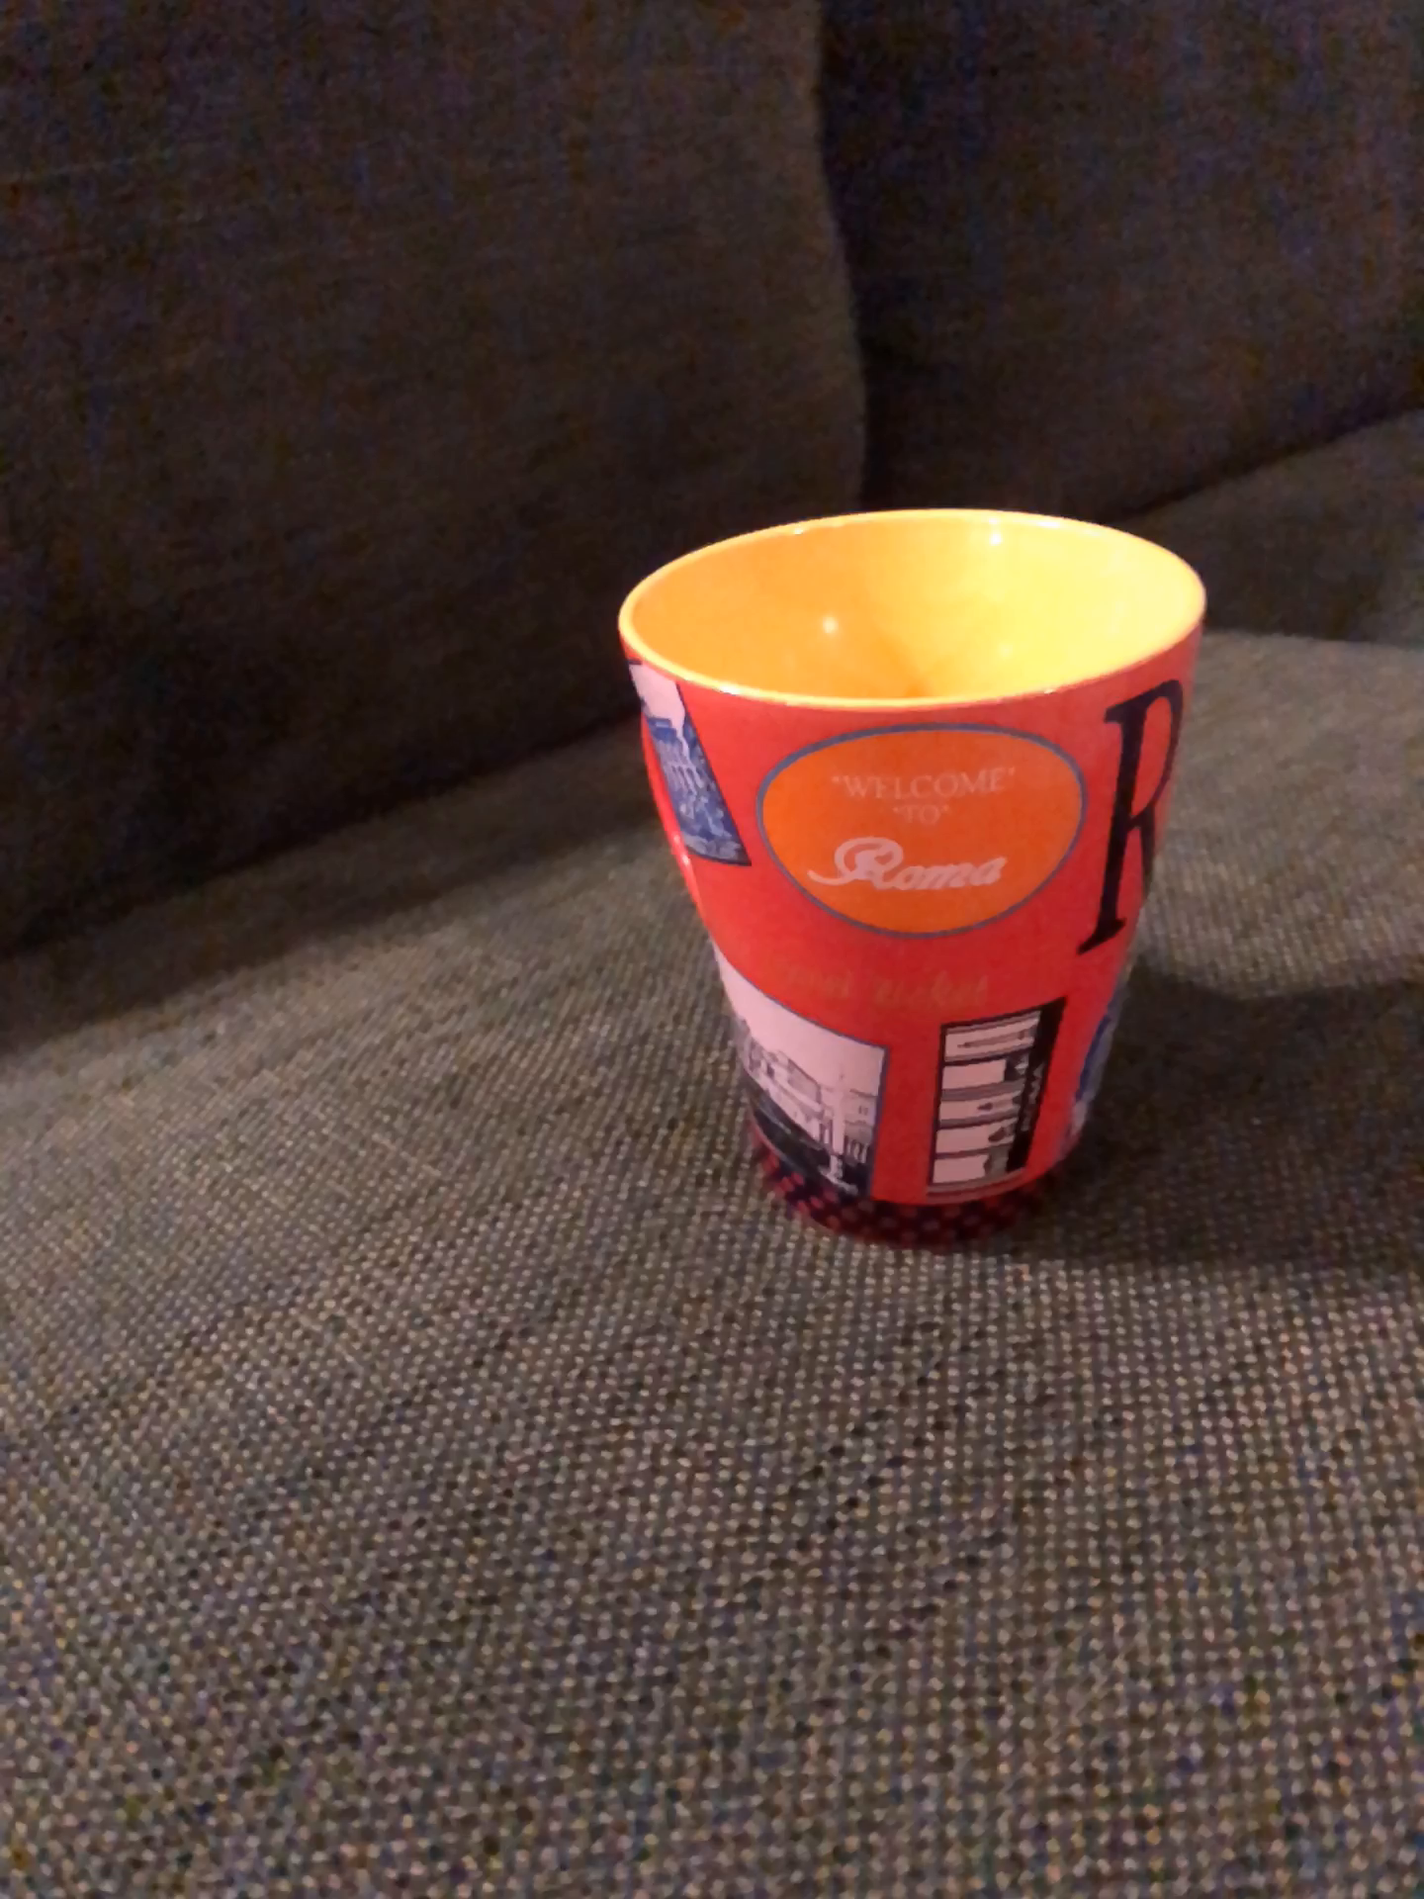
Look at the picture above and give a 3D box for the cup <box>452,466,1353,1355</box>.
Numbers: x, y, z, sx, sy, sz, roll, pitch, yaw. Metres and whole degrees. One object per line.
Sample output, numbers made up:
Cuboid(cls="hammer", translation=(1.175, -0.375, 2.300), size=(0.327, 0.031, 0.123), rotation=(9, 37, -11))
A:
Cuboid(cls="cup", translation=(0.027, -0.019, 0.282), size=(0.090, 0.099, 0.120), rotation=(-20, 31, -27))
